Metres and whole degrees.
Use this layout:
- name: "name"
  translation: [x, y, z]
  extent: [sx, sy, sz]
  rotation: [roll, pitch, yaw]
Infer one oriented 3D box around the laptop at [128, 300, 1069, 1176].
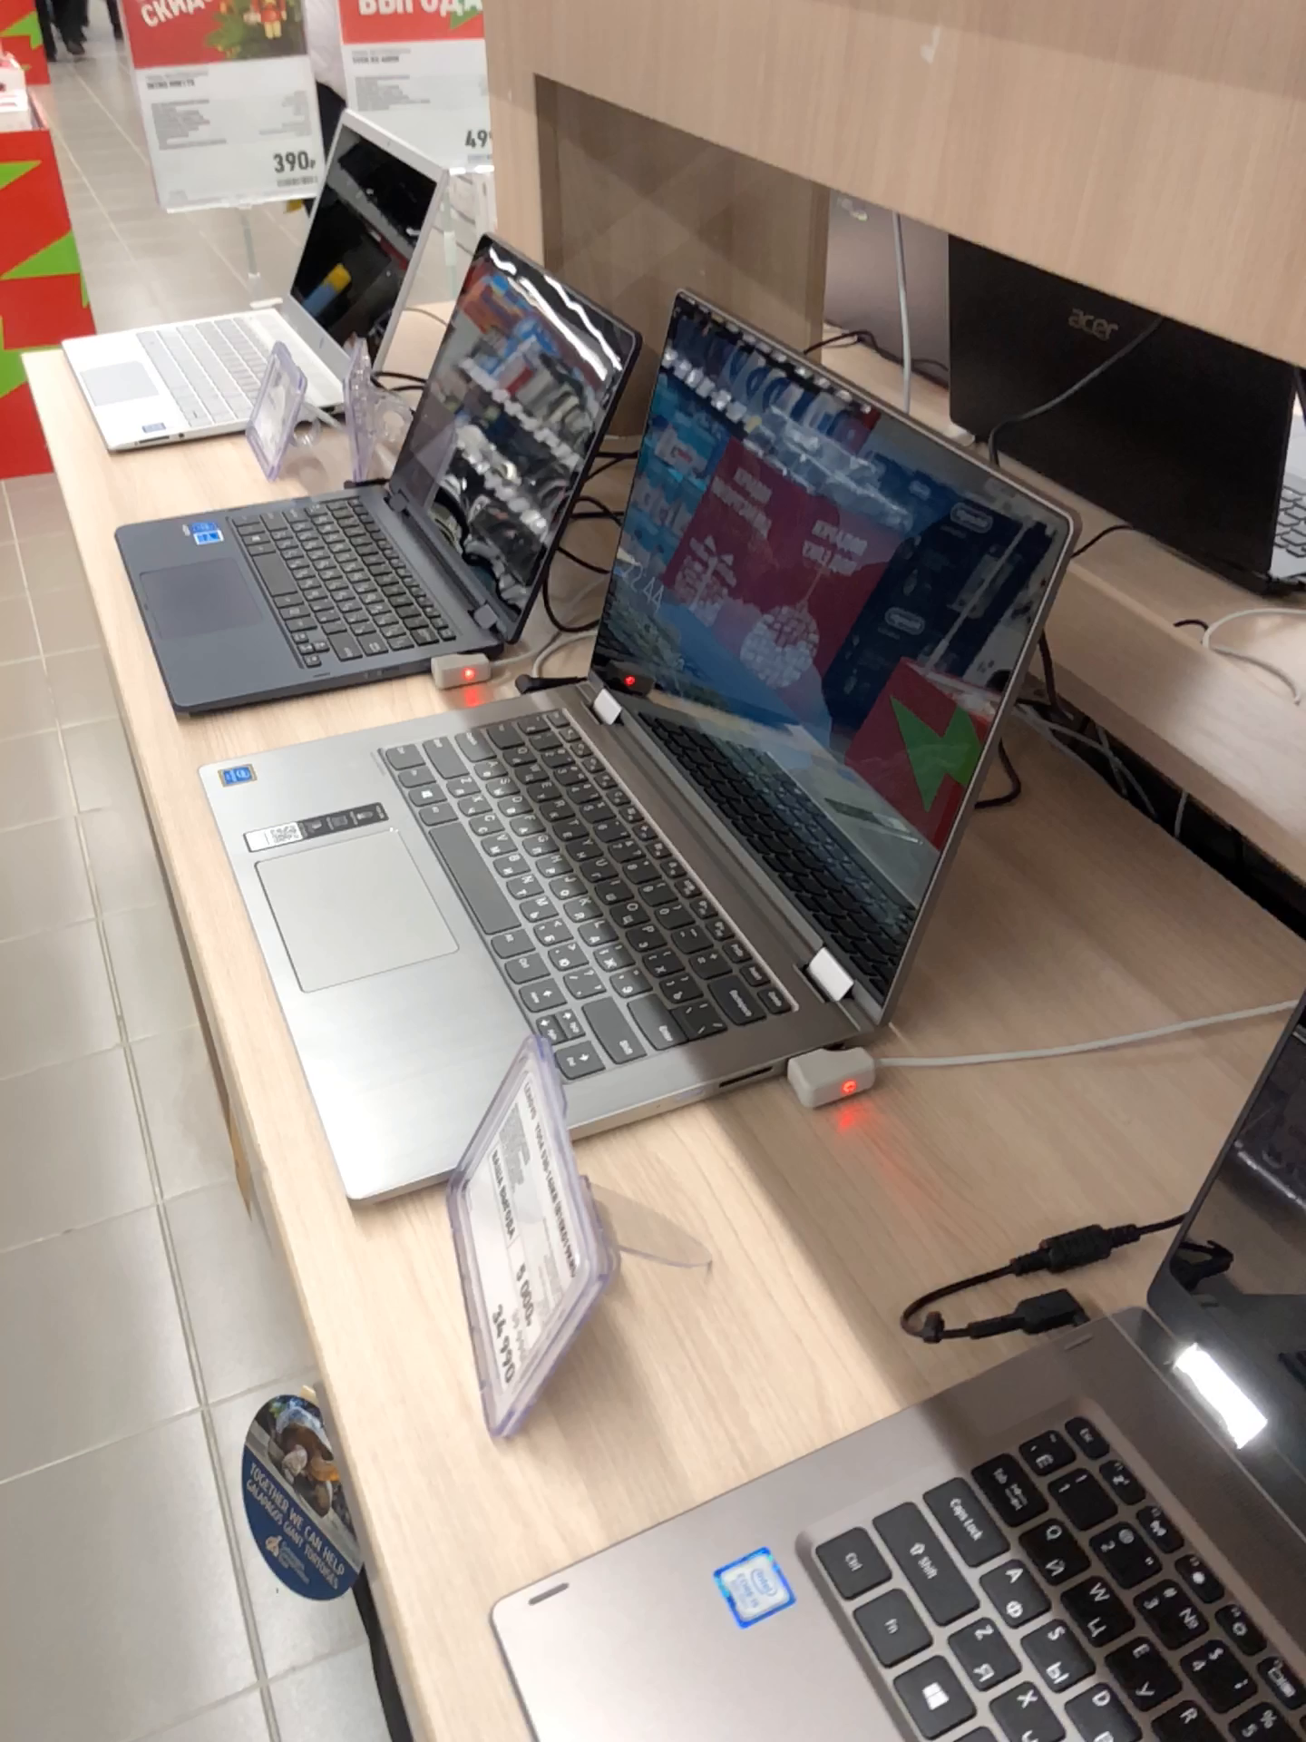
- name: "laptop"
  translation: [-0.045, -0.092, 0.638]
  extent: [0.287, 0.205, 0.312]
  rotation: [-15, 38, -20]
